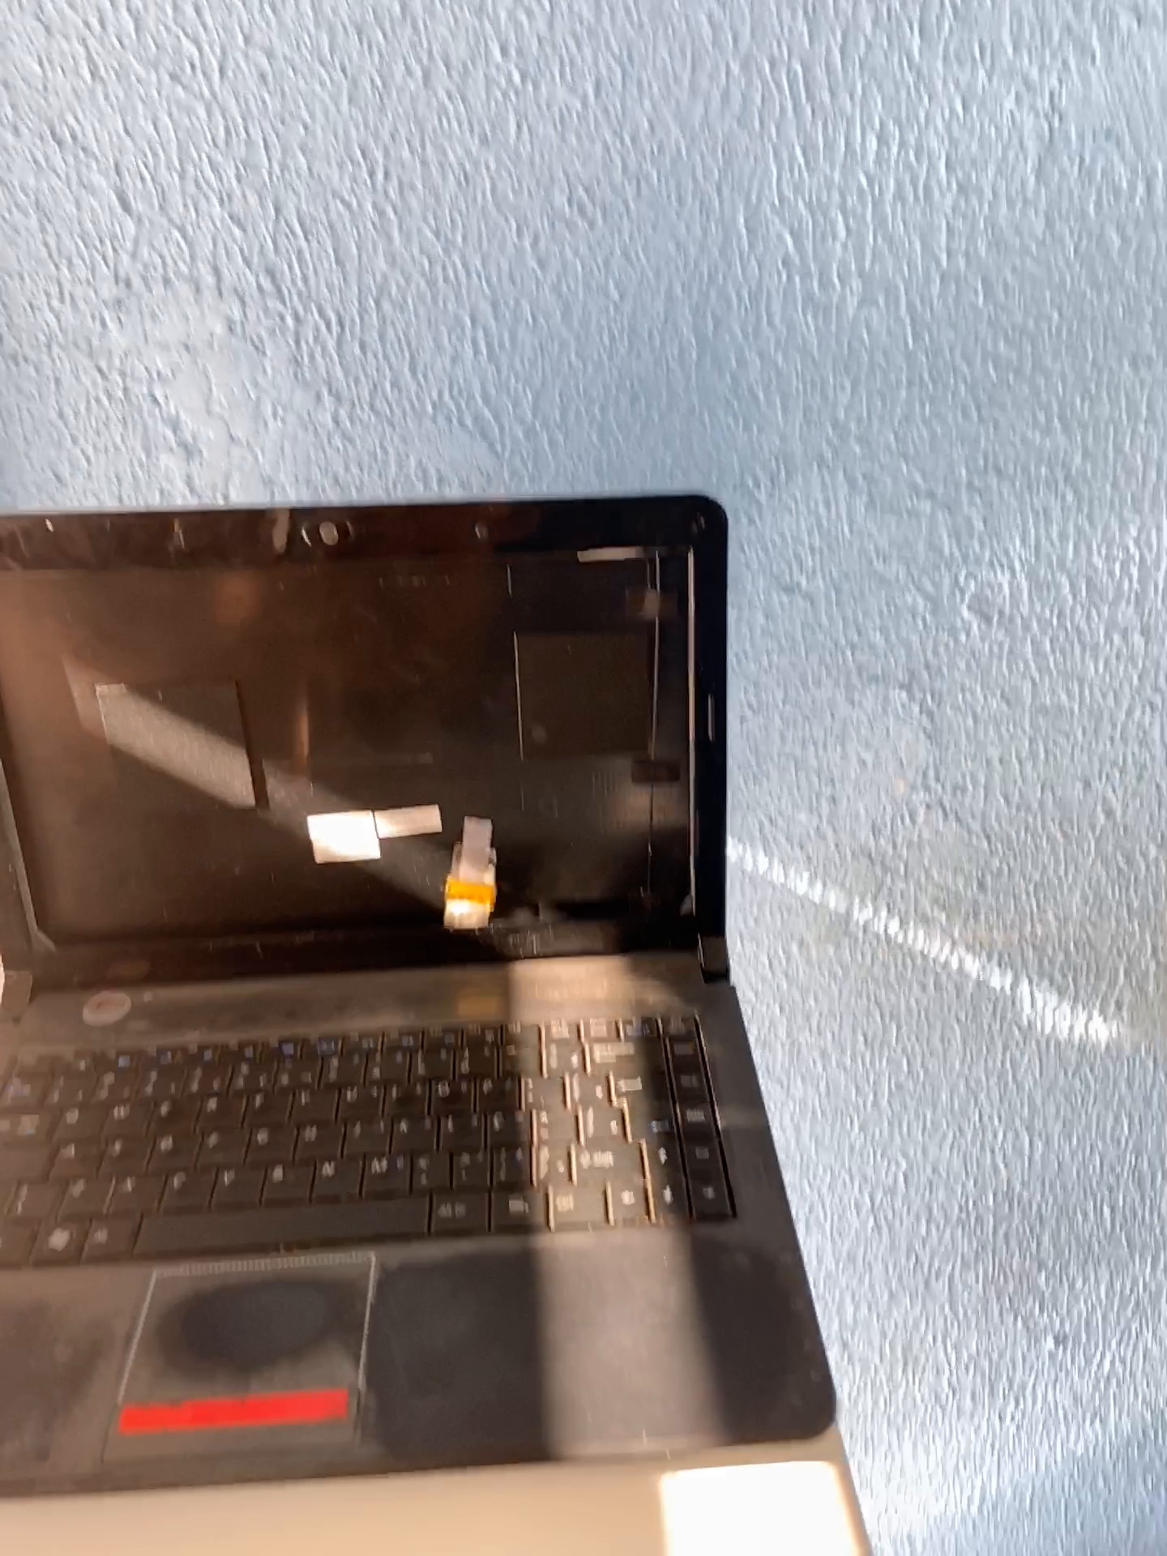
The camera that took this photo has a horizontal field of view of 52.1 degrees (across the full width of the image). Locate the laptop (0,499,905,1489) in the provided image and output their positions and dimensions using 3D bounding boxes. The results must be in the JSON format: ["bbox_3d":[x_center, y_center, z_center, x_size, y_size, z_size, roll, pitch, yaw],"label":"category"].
[{"bbox_3d":[-0.099,0.051,0.448,0.334,0.216,0.277,-2,31,-3],"label":"laptop"}]
